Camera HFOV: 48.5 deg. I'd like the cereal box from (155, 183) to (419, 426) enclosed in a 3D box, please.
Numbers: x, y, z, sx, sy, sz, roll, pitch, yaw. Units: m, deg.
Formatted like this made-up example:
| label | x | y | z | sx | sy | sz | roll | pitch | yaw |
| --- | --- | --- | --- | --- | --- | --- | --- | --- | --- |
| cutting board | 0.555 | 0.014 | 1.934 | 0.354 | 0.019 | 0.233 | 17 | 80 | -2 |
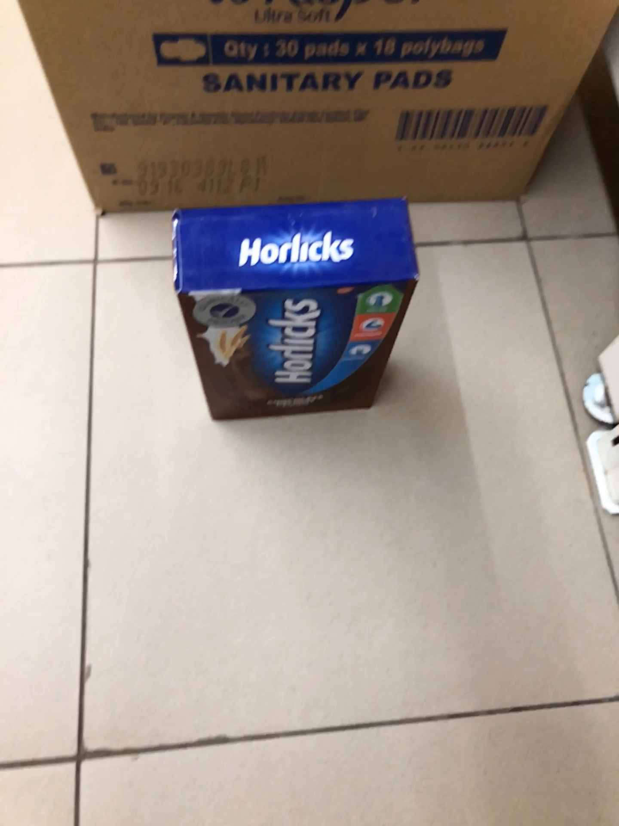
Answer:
| label | x | y | z | sx | sy | sz | roll | pitch | yaw |
| --- | --- | --- | --- | --- | --- | --- | --- | --- | --- |
| cereal box | -0.018 | -0.060 | 0.467 | 0.140 | 0.199 | 0.060 | -4 | 67 | -4 |
